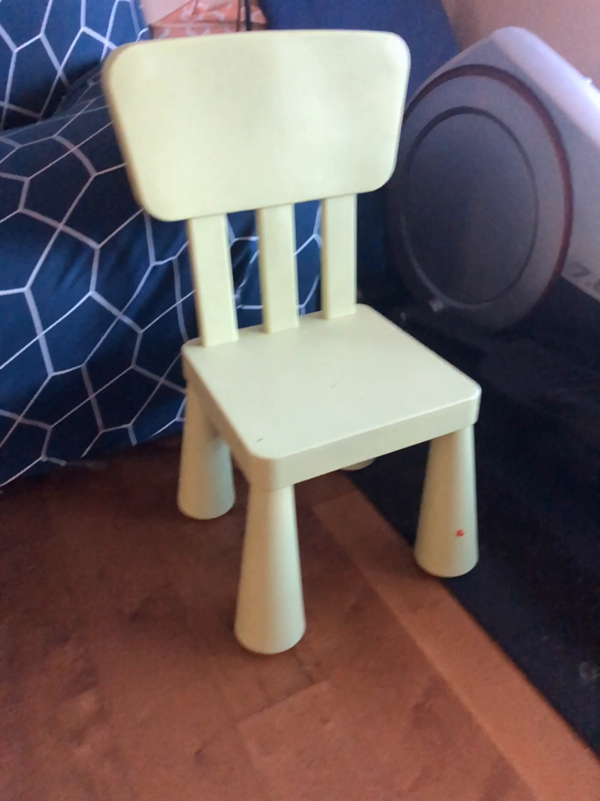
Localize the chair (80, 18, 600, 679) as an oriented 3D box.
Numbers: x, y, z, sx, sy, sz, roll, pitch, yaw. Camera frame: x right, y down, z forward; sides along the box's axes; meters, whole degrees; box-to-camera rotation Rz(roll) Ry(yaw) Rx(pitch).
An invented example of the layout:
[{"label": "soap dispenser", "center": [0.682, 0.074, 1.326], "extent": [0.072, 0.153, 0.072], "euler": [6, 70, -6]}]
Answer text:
[{"label": "chair", "center": [0.023, -0.096, 0.817], "extent": [0.390, 0.635, 0.413], "euler": [-16, 36, -25]}]
